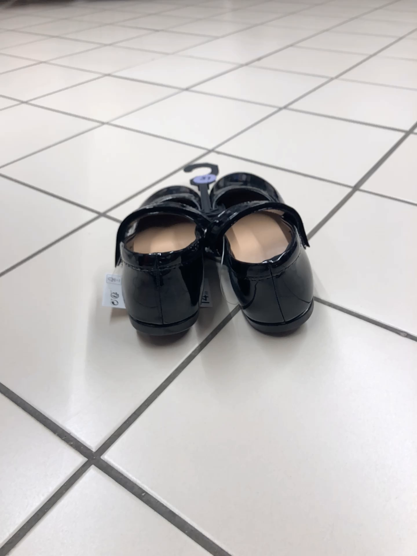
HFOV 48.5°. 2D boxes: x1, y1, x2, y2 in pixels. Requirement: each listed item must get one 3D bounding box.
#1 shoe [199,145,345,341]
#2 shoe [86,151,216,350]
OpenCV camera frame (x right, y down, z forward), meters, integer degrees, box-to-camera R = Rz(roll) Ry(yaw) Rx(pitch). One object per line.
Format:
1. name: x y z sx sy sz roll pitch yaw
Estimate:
1. shoe: 0.039 -0.044 0.388 0.079 0.056 0.205 -4 38 -3
2. shoe: -0.041 -0.038 0.387 0.079 0.052 0.211 -3 37 -1
